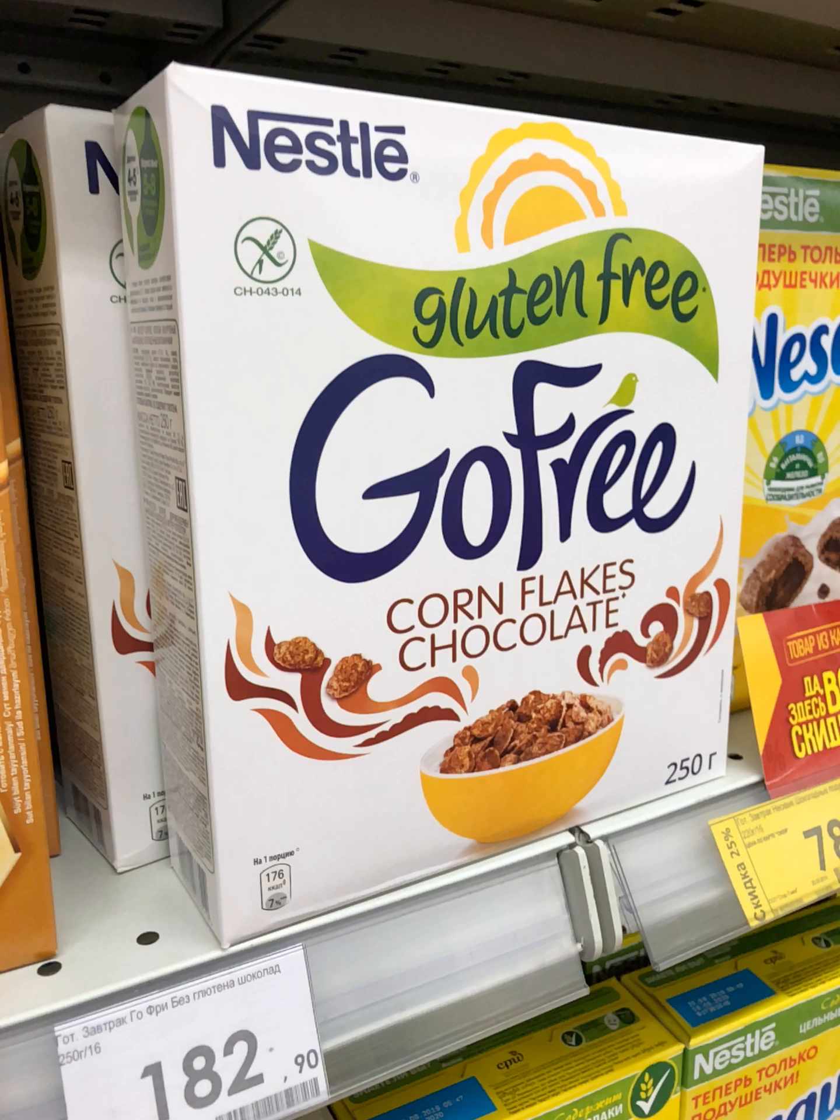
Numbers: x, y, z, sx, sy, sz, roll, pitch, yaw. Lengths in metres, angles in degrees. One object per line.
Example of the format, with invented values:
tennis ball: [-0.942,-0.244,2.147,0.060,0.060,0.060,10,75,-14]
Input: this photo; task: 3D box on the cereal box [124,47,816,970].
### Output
cereal box: [0.025,-0.017,0.287,0.200,0.219,0.050,-7,13,-28]
